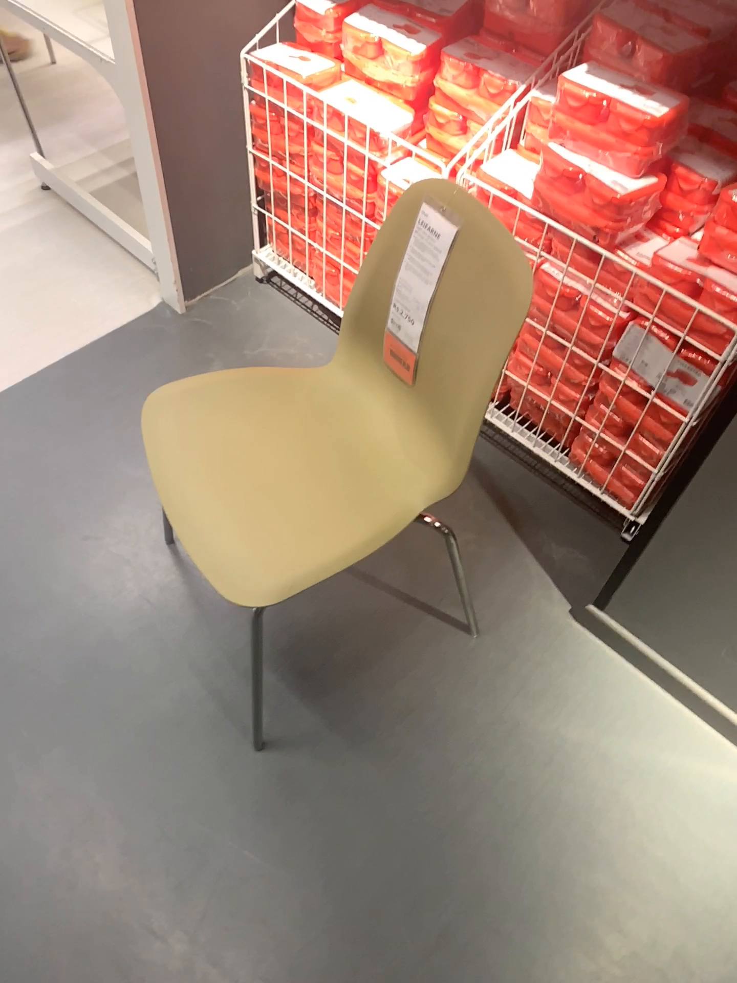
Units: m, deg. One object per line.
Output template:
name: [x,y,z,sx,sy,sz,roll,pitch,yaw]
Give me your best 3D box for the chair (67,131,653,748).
chair: [-0.051,-0.052,1.198,0.550,0.728,0.501,-19,57,-18]
